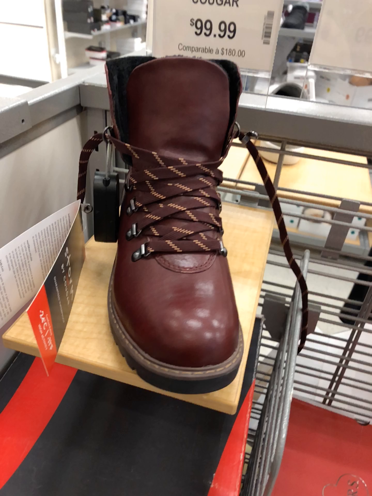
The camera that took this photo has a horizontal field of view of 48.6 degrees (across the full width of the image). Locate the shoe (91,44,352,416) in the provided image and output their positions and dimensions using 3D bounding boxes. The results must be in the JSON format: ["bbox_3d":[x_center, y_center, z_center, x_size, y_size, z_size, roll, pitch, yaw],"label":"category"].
[{"bbox_3d":[-0.008,-0.036,0.305,0.107,0.169,0.232,-2,35,-10],"label":"shoe"}]
